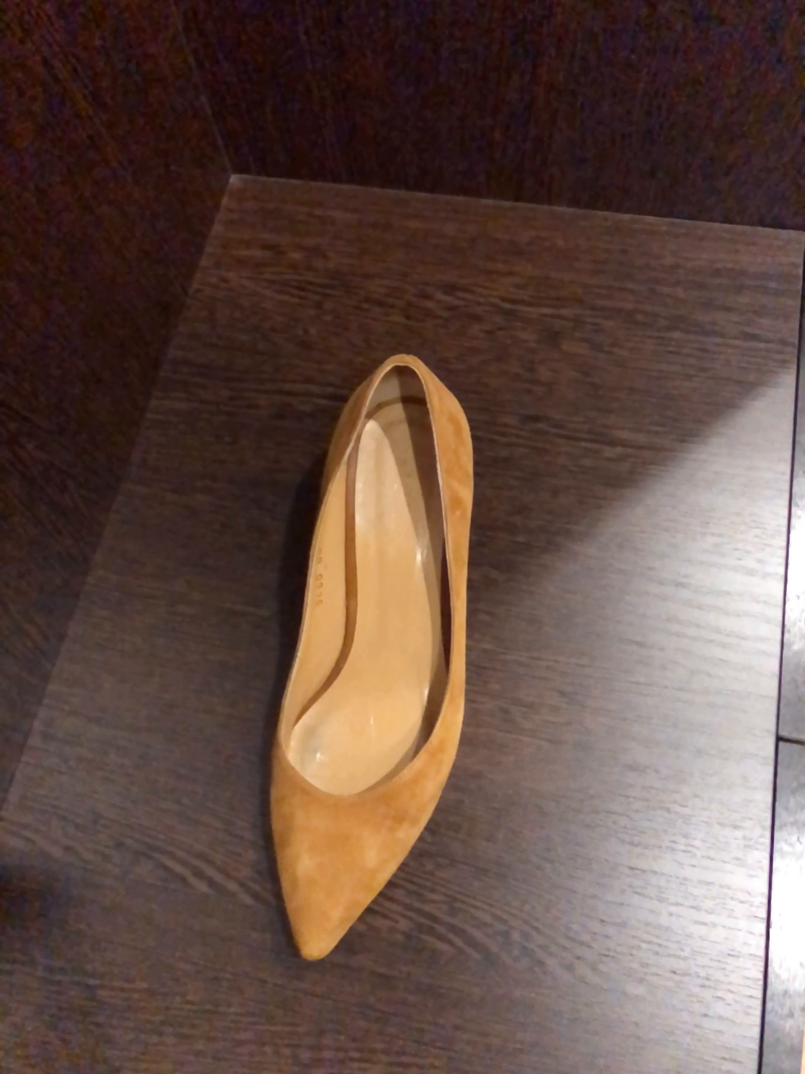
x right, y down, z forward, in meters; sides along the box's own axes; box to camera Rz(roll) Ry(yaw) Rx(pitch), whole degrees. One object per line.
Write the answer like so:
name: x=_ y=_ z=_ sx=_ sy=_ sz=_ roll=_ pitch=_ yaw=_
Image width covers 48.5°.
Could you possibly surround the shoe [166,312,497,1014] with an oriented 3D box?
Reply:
shoe: x=-0.015 y=0.046 z=0.391 sx=0.090 sy=0.100 sz=0.270 roll=4 pitch=68 yaw=7
